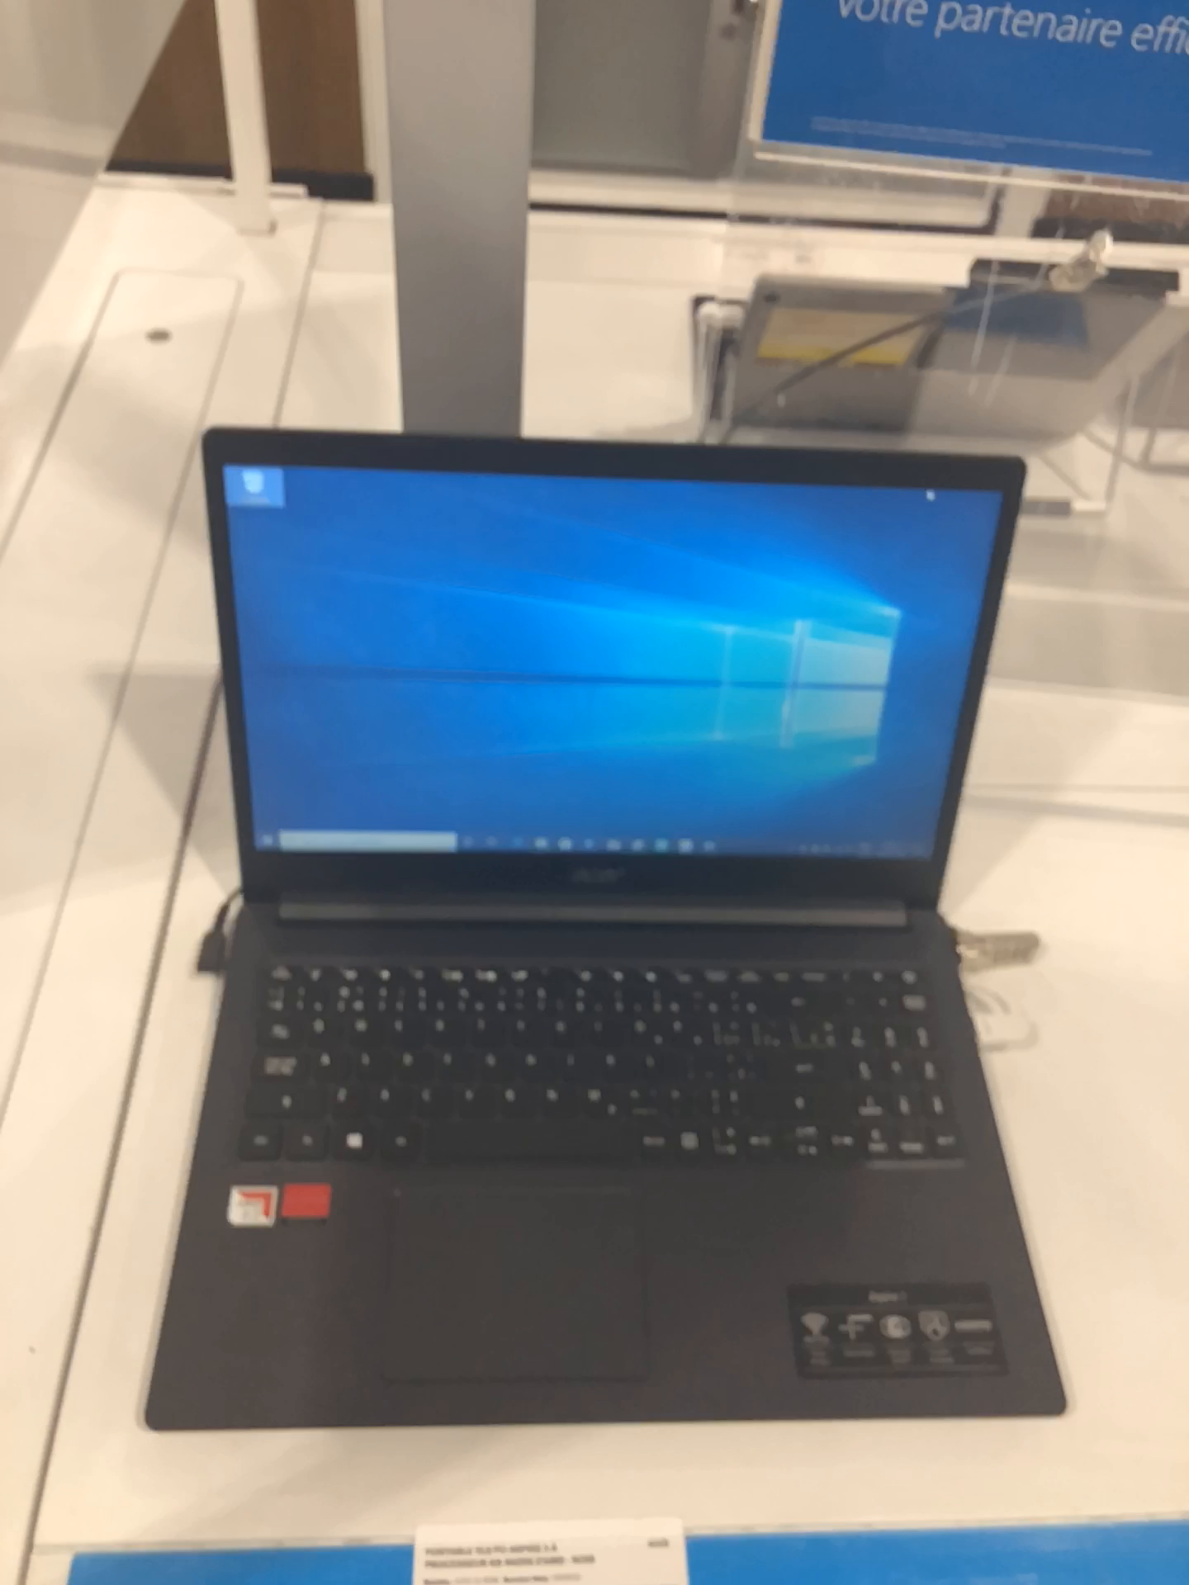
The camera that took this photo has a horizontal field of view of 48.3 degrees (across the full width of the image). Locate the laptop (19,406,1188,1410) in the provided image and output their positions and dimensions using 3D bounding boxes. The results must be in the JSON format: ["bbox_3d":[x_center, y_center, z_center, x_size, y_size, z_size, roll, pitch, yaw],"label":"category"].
[{"bbox_3d":[0.009,0.042,0.570,0.367,0.212,0.351,1,50,-4],"label":"laptop"}]
